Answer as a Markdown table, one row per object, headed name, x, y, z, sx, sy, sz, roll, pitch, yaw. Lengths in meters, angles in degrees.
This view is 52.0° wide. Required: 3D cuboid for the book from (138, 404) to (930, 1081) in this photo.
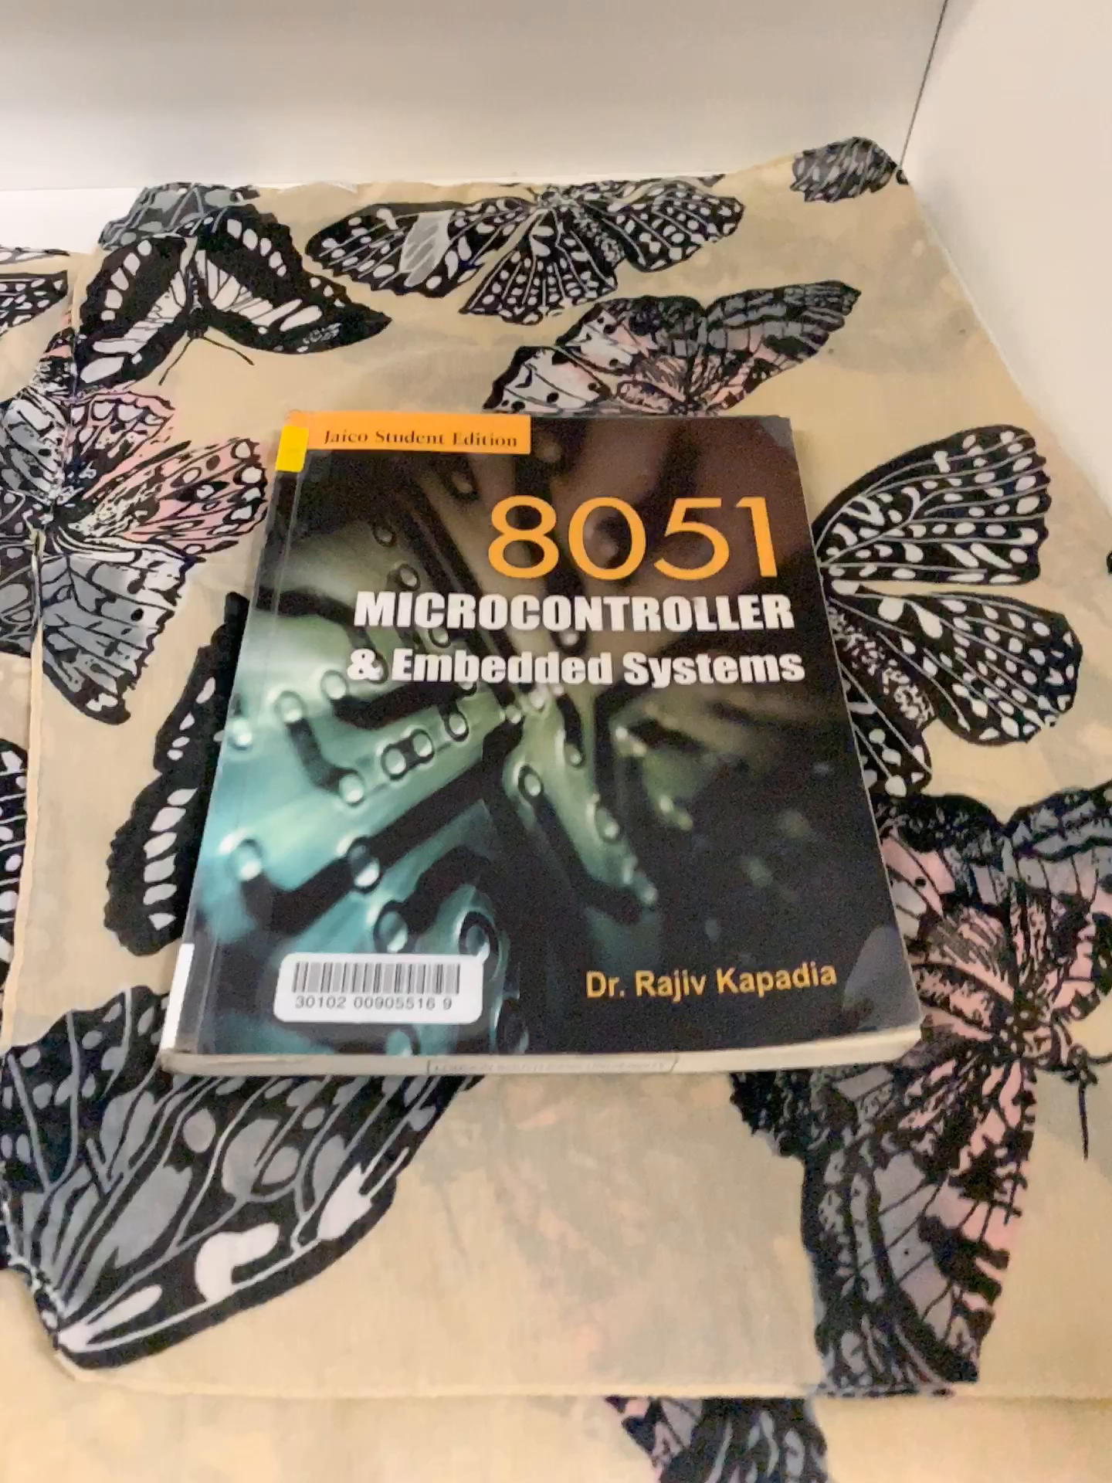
| name | x | y | z | sx | sy | sz | roll | pitch | yaw |
| --- | --- | --- | --- | --- | --- | --- | --- | --- | --- |
| book | -0.006 | -0.018 | 0.343 | 0.183 | 0.020 | 0.237 | 0 | 53 | -2 |
